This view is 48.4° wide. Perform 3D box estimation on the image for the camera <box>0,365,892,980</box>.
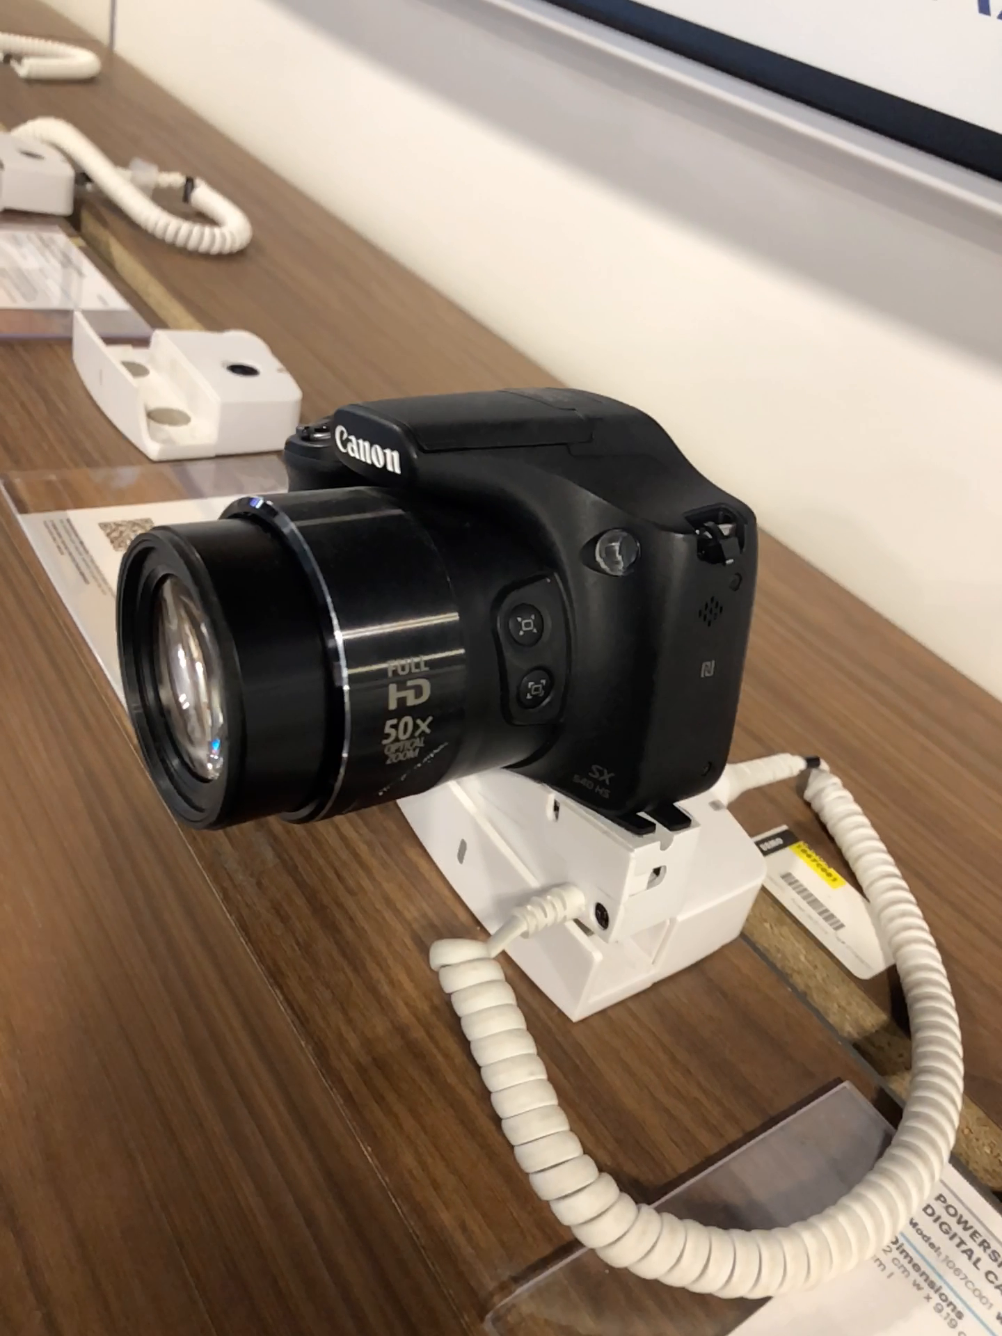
[{"bbox_3d":[-0.016,-0.020,0.247,0.140,0.070,0.130,-14,29,-37],"label":"camera"}]
